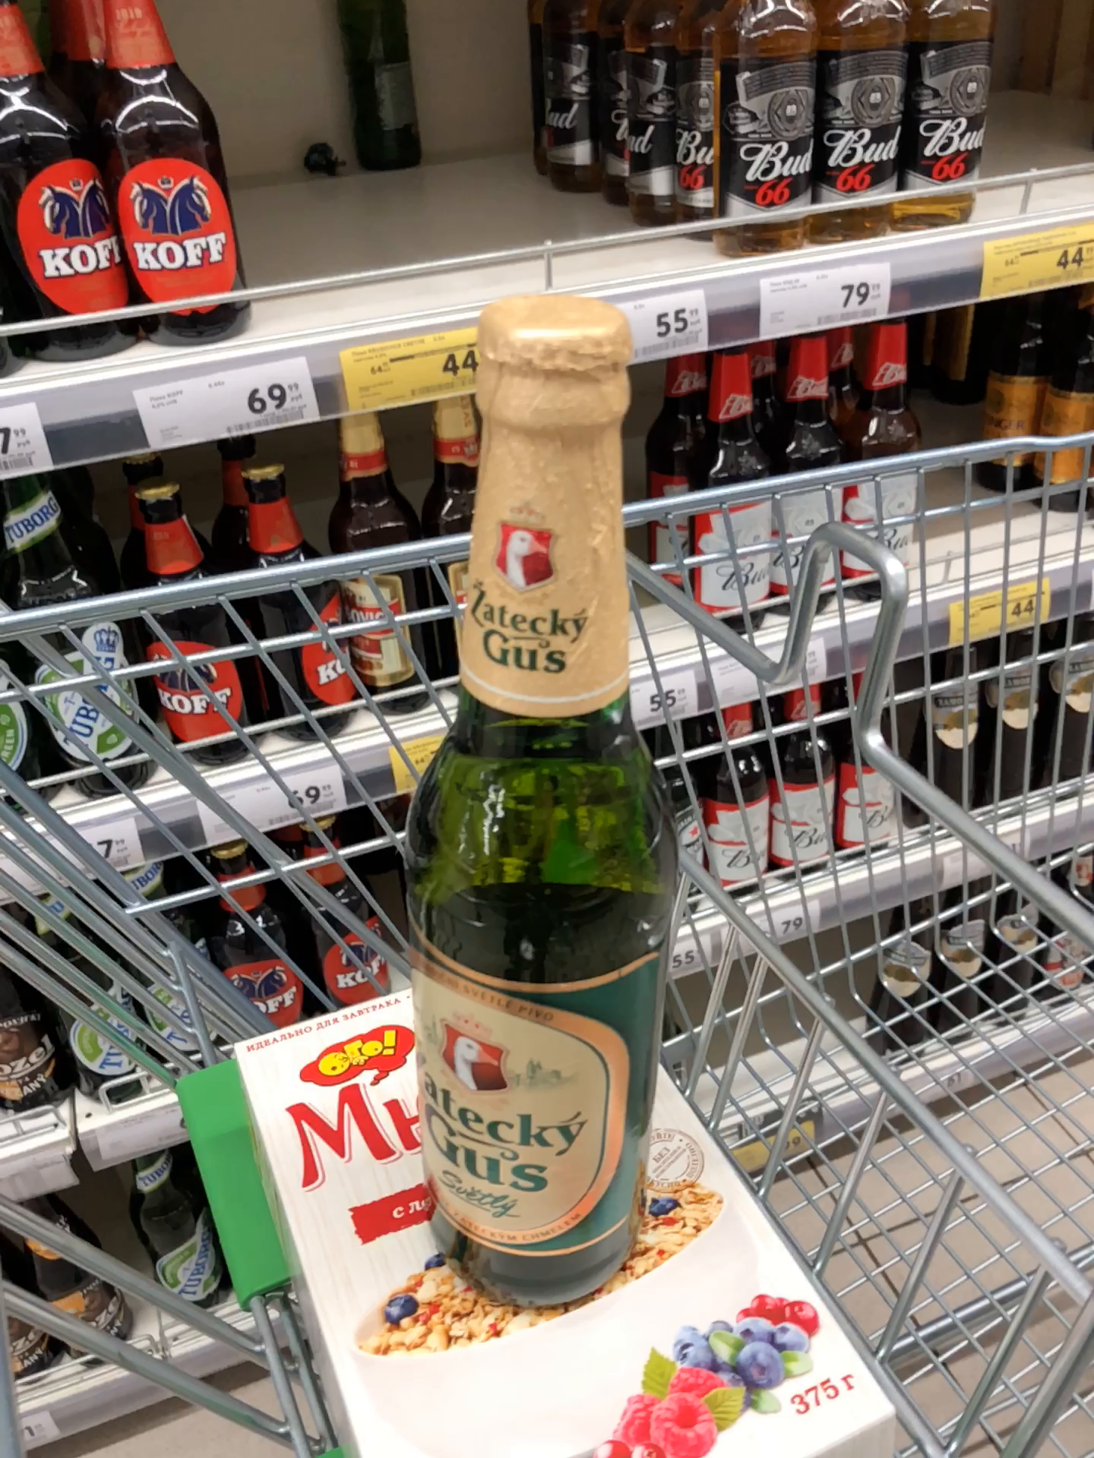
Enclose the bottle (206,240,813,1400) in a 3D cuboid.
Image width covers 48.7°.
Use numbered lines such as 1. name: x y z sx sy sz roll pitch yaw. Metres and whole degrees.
1. bottle: 0.000 0.037 0.286 0.080 0.268 0.070 20 41 30
